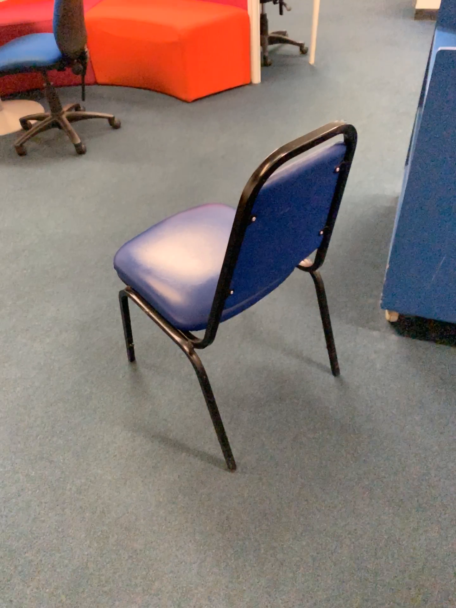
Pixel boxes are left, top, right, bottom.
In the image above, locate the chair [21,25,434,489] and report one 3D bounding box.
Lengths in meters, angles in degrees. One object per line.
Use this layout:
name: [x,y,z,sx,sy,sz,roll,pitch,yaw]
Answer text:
chair: [0.006,-0.114,1.210,0.562,0.882,0.583,-32,50,-25]
